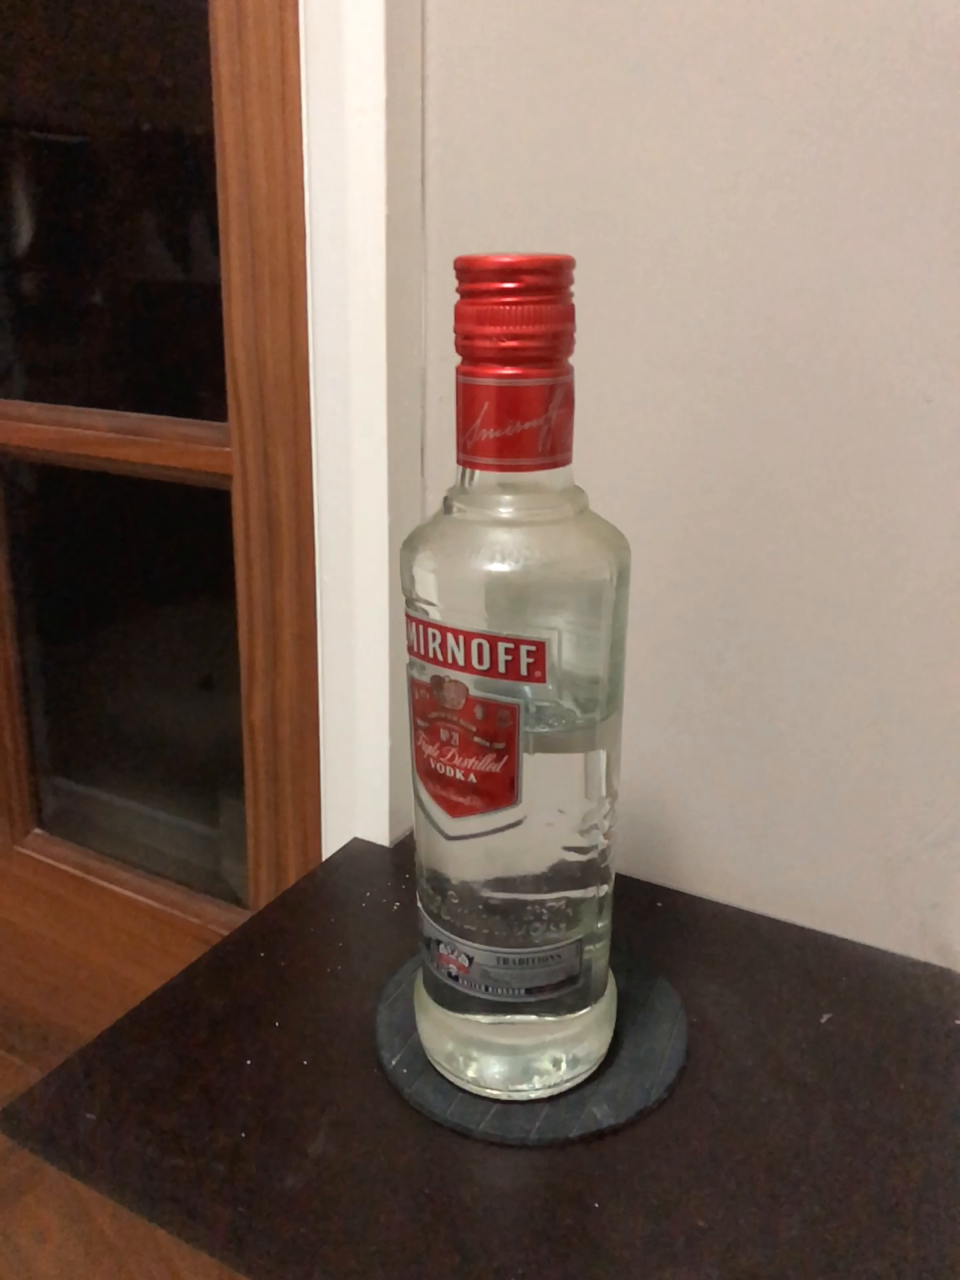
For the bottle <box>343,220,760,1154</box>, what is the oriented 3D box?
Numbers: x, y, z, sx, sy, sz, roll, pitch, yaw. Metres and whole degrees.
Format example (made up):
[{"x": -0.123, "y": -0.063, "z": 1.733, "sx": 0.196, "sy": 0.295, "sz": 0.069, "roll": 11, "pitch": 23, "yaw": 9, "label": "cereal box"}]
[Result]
[{"x": 0.016, "y": 0.009, "z": 0.280, "sx": 0.070, "sy": 0.219, "sz": 0.070, "roll": 1, "pitch": 18, "yaw": 0, "label": "bottle"}]
